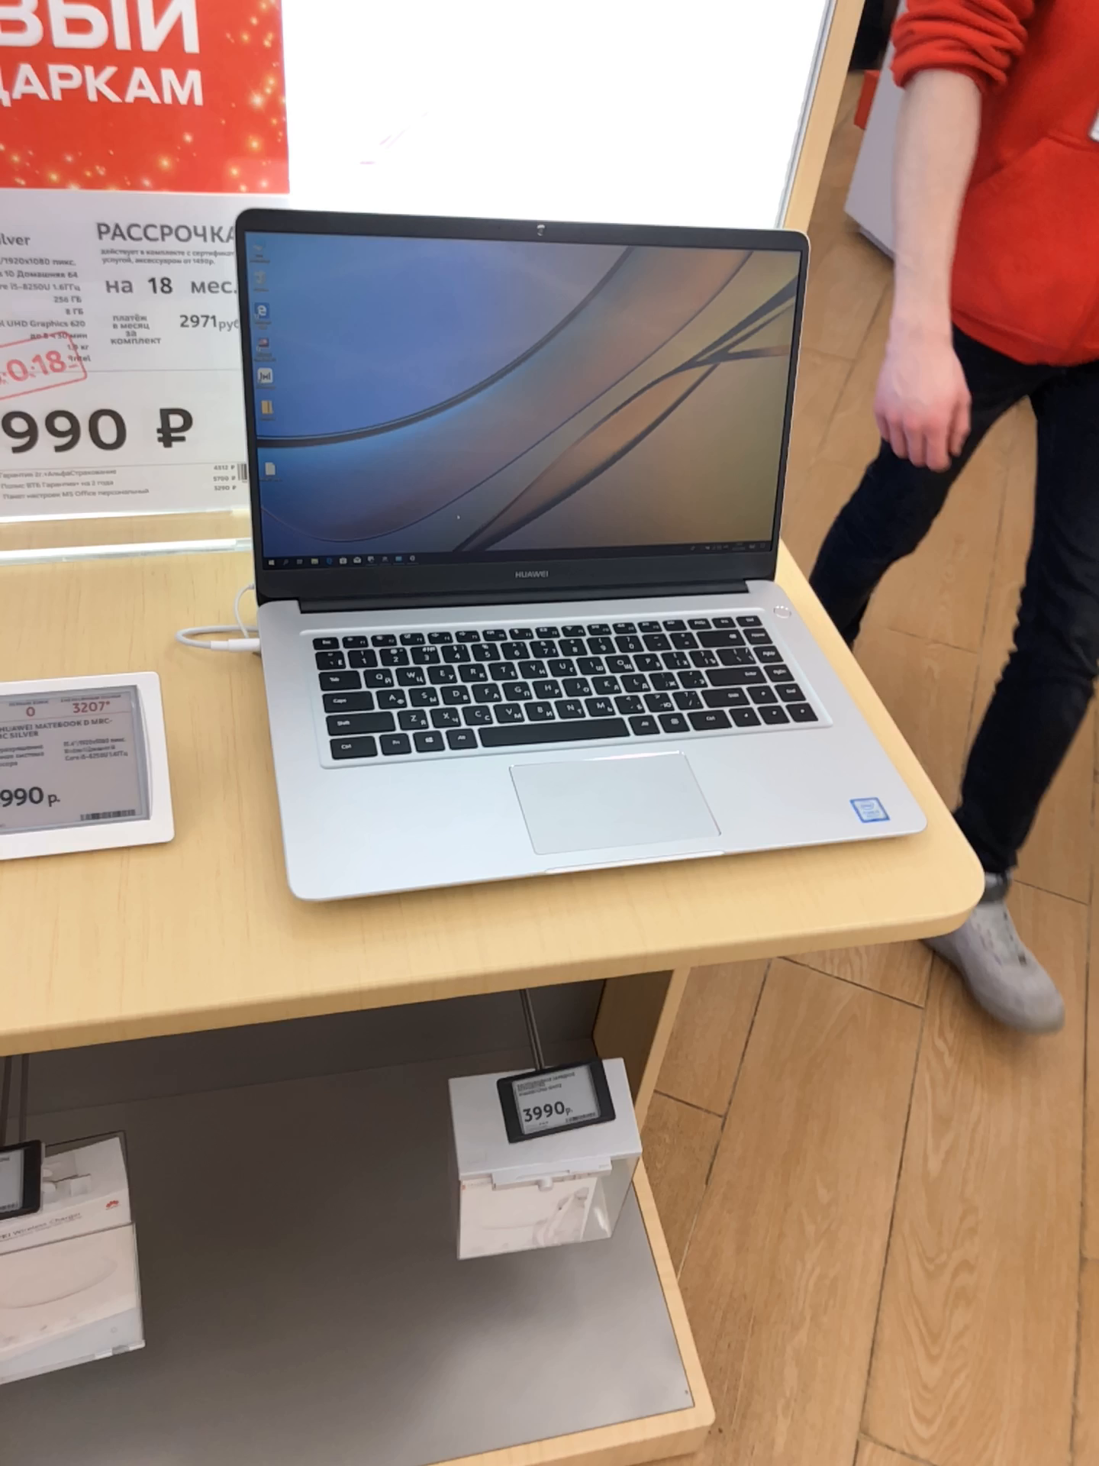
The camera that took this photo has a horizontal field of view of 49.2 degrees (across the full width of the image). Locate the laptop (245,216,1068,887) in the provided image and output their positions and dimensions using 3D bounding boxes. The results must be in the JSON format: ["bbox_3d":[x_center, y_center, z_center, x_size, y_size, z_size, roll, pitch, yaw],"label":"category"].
[{"bbox_3d":[0.023,-0.117,0.669,0.340,0.204,0.307,-5,44,-16],"label":"laptop"}]
